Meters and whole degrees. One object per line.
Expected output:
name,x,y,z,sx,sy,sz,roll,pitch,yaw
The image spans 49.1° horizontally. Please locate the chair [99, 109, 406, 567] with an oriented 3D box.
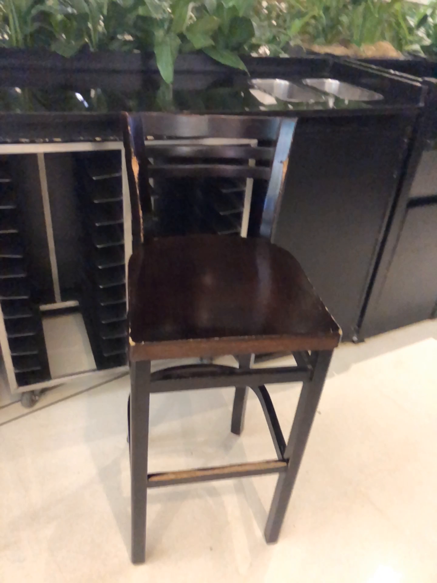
chair,-0.012,0.119,1.093,0.440,0.913,0.453,-2,33,-11
